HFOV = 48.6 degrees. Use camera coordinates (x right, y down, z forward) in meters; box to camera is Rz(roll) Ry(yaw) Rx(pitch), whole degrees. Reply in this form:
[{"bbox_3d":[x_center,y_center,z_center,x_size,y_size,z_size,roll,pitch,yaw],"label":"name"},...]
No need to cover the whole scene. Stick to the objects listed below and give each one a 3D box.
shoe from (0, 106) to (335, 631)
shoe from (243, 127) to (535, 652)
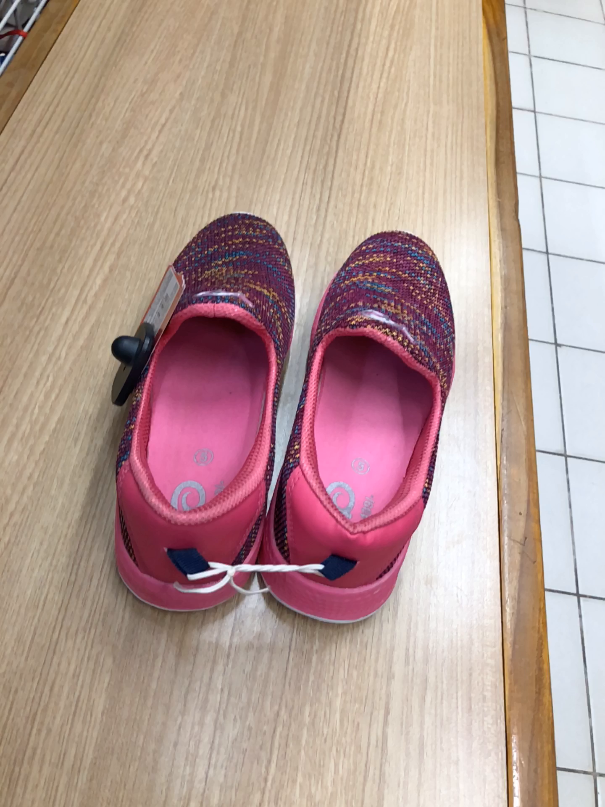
[{"bbox_3d":[-0.050,-0.026,0.346,0.105,0.103,0.245,7,58,-3],"label":"shoe"},{"bbox_3d":[0.050,-0.016,0.353,0.105,0.103,0.245,12,58,1],"label":"shoe"}]
